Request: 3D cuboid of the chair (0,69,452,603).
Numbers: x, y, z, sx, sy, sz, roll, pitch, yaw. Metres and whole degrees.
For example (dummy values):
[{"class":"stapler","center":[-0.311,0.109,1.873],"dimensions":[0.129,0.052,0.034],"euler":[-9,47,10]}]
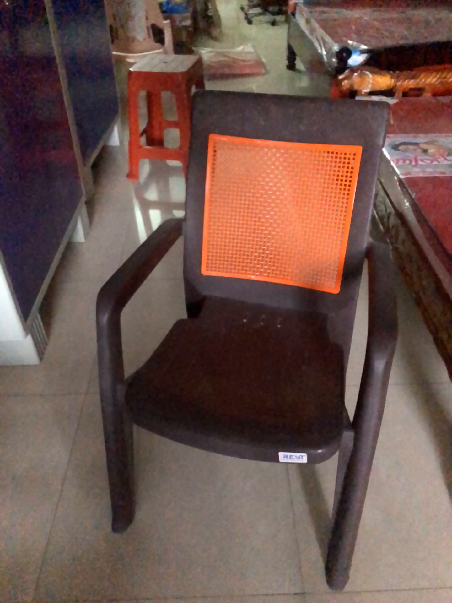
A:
[{"class":"chair","center":[0.029,0.063,1.168],"dimensions":[0.710,0.935,0.714],"euler":[8,39,11]}]
